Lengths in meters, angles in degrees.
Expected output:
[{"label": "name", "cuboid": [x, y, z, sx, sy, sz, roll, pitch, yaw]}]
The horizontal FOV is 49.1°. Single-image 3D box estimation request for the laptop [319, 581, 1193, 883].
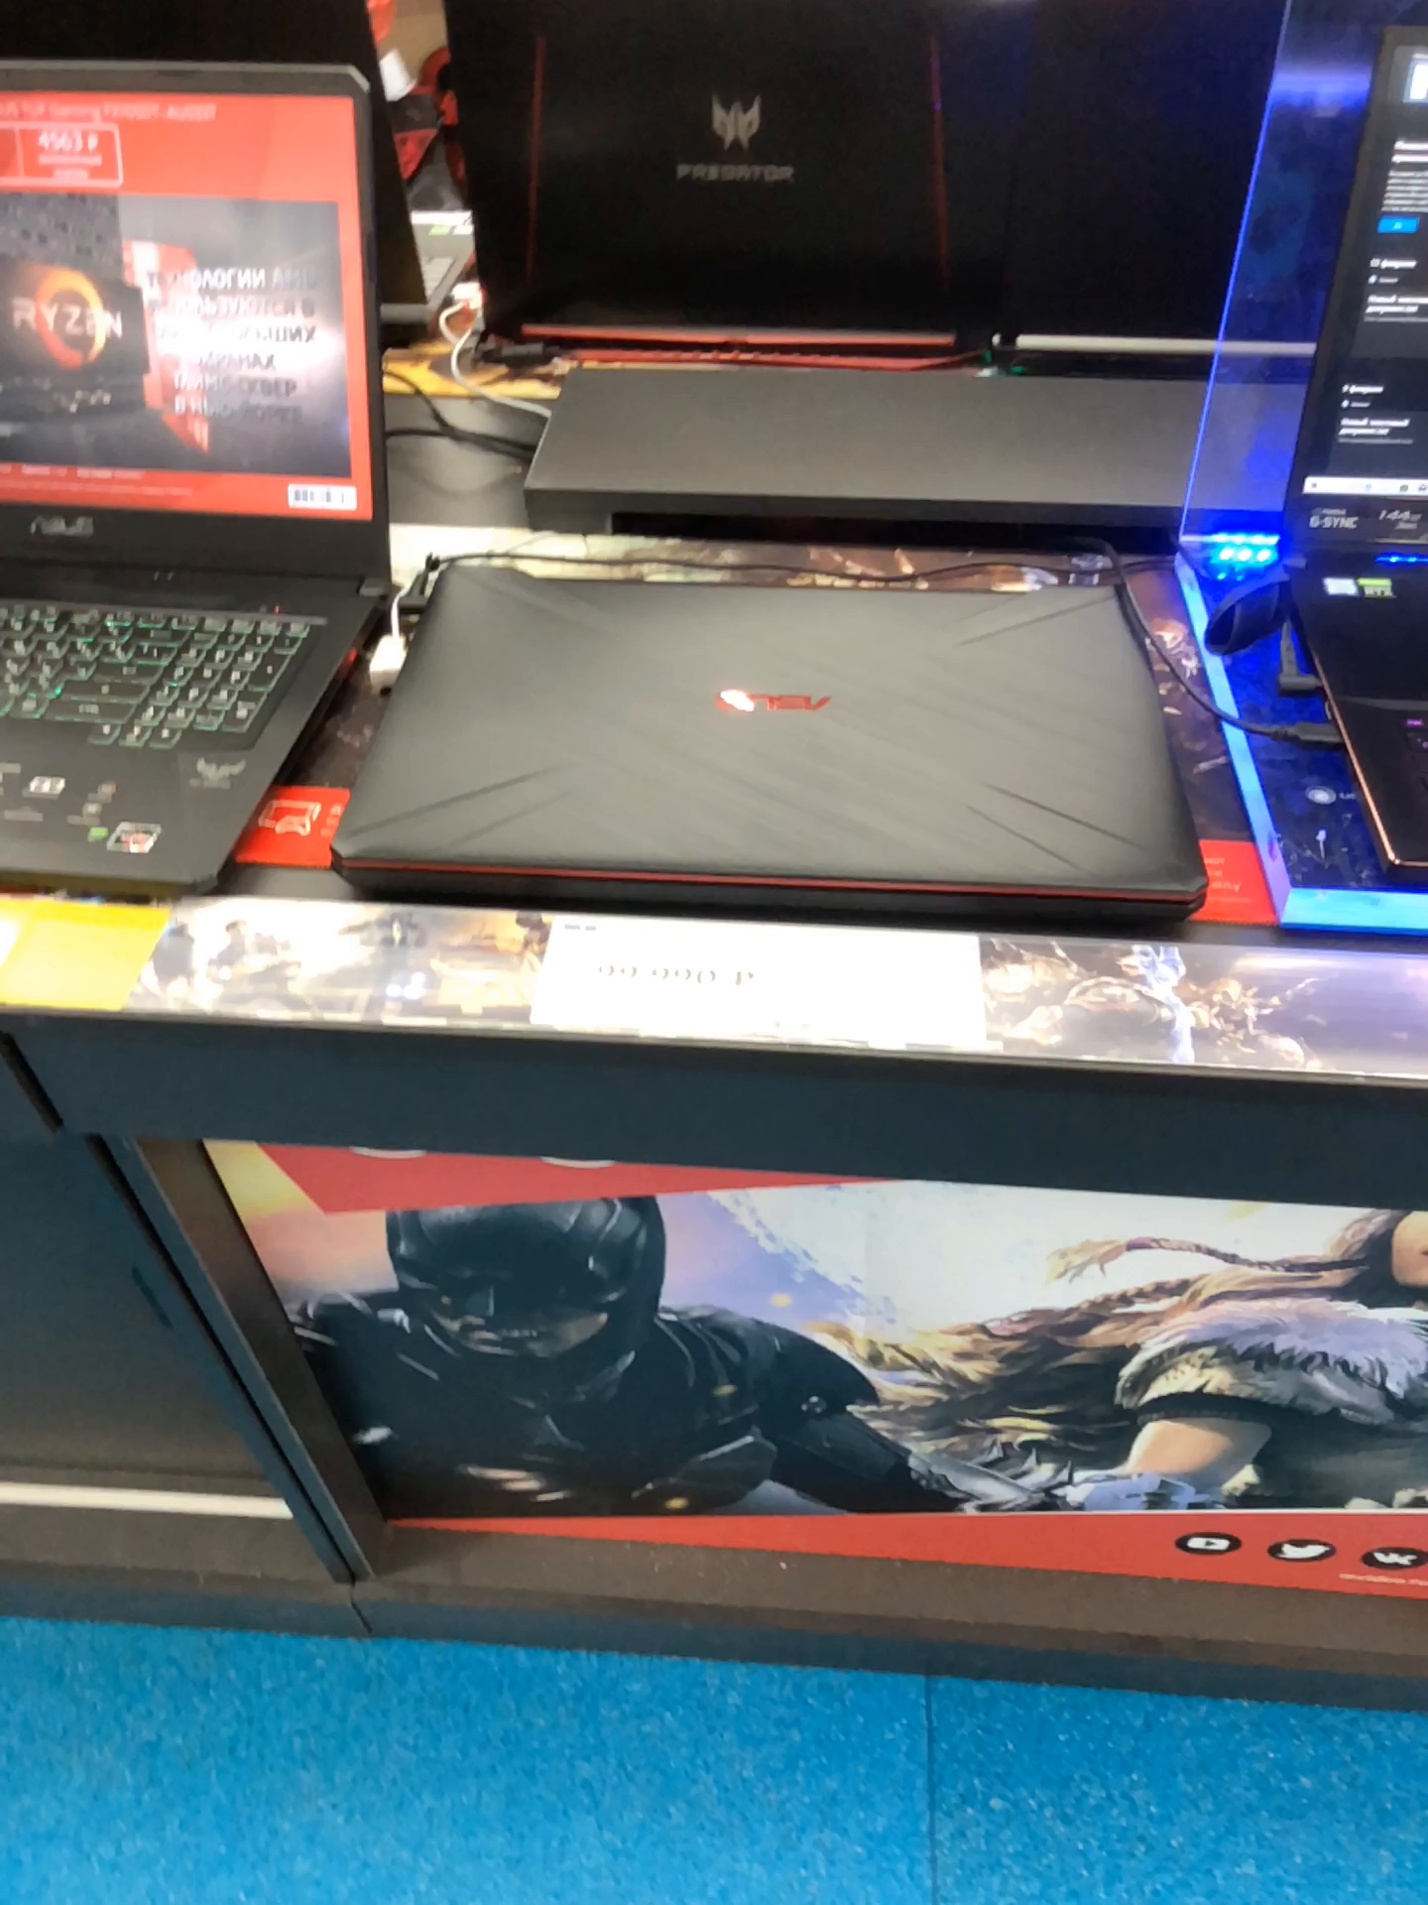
[{"label": "laptop", "cuboid": [0.022, -0.122, 0.789, 0.388, 0.002, 0.254, 2, 41, 4]}]
